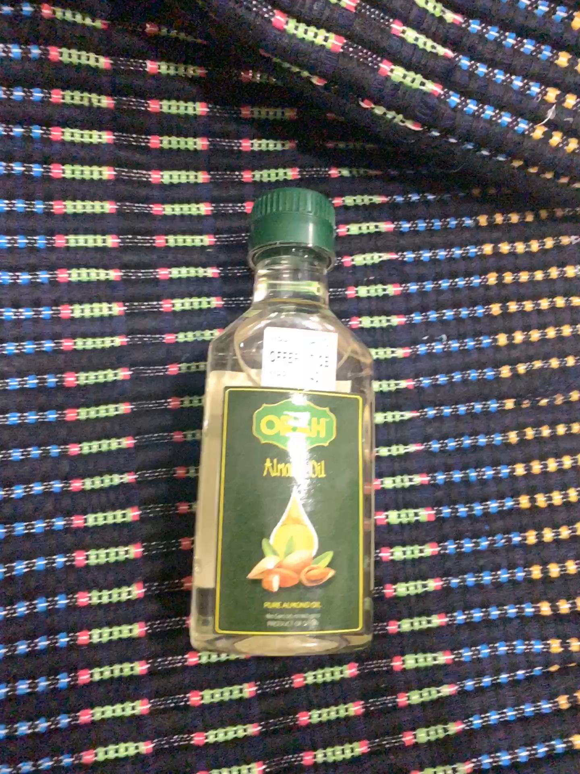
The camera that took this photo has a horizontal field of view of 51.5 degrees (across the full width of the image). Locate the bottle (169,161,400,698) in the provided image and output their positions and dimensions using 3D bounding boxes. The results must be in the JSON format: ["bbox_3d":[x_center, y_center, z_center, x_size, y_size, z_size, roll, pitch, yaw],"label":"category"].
[{"bbox_3d":[-0.002,0.009,0.186,0.060,0.030,0.150,3,77,-9],"label":"bottle"}]
